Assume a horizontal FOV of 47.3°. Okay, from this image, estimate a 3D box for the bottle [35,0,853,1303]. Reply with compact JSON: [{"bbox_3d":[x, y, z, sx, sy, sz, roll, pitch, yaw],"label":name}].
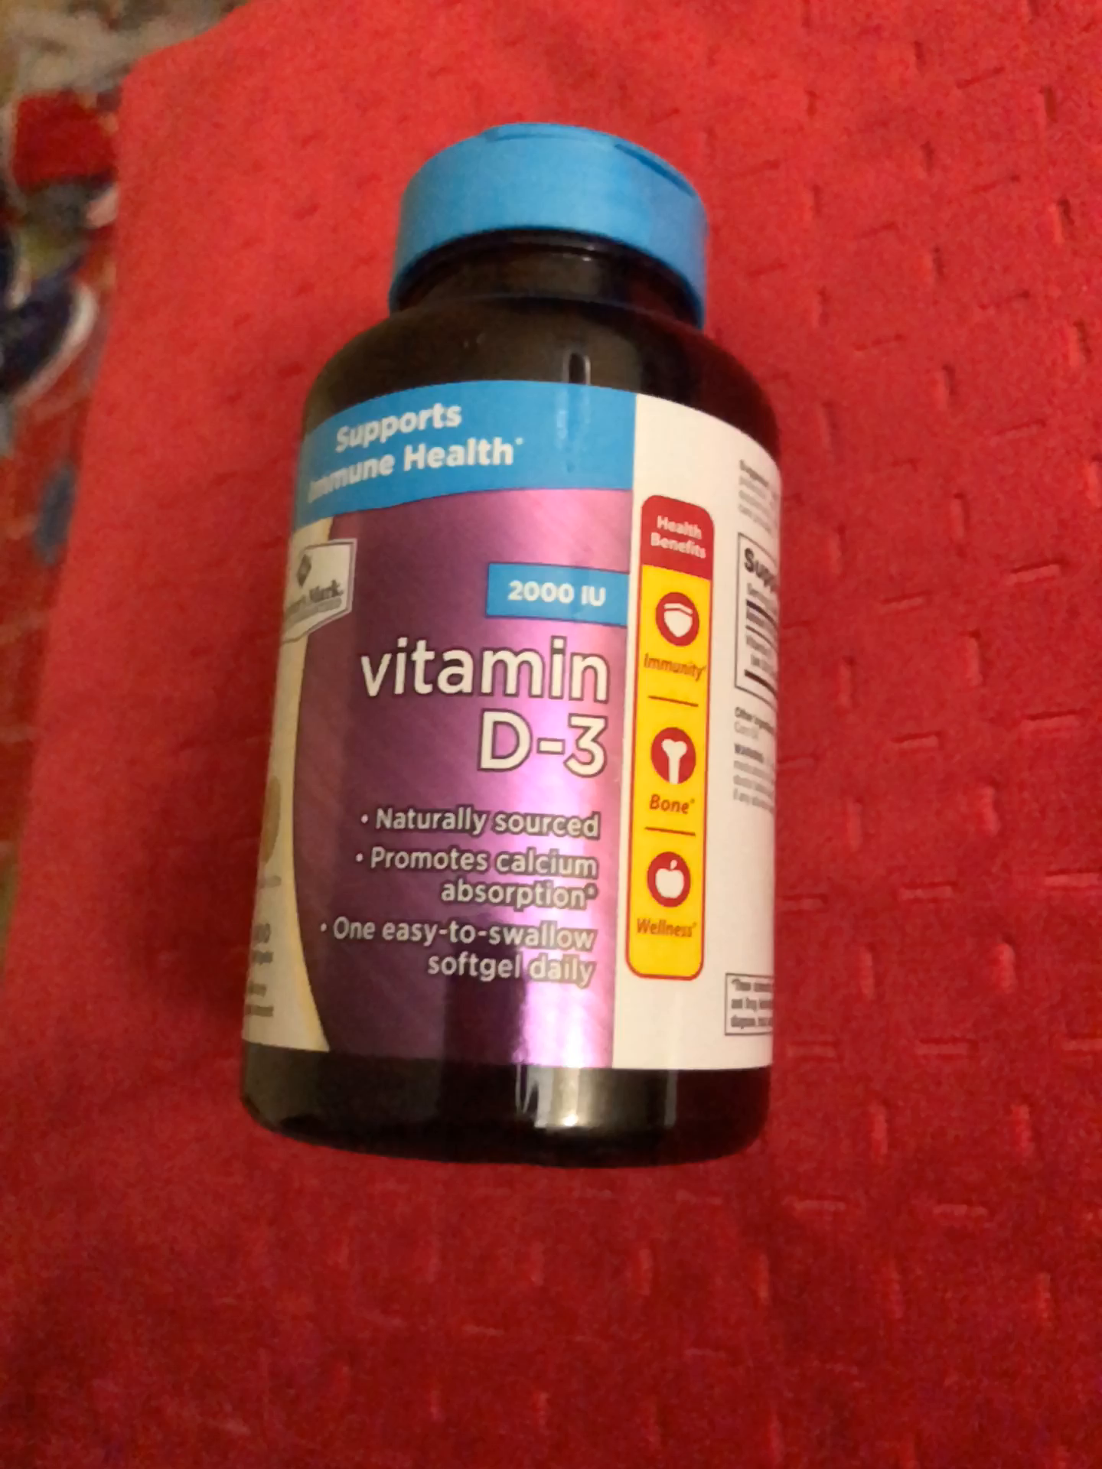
[{"bbox_3d":[-0.010,-0.017,0.154,0.070,0.060,0.140,-6,78,36],"label":"bottle"}]
